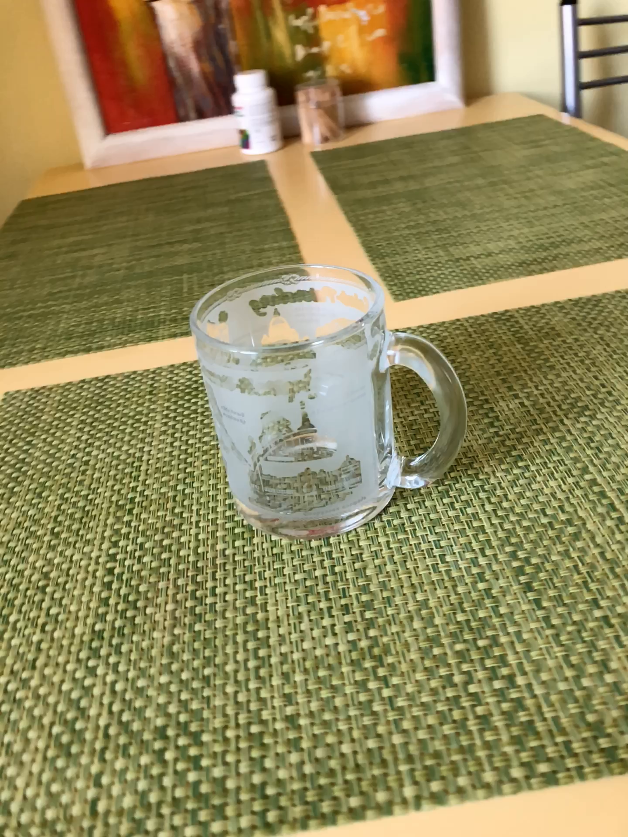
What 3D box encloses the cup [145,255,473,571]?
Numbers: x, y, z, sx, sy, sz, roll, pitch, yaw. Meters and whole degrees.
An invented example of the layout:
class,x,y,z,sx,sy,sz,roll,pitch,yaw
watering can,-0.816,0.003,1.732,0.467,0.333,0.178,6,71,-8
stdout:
class,x,y,z,sx,sy,sz,roll,pitch,yaw
cup,0.007,-0.008,0.302,0.109,0.096,0.088,5,36,19
